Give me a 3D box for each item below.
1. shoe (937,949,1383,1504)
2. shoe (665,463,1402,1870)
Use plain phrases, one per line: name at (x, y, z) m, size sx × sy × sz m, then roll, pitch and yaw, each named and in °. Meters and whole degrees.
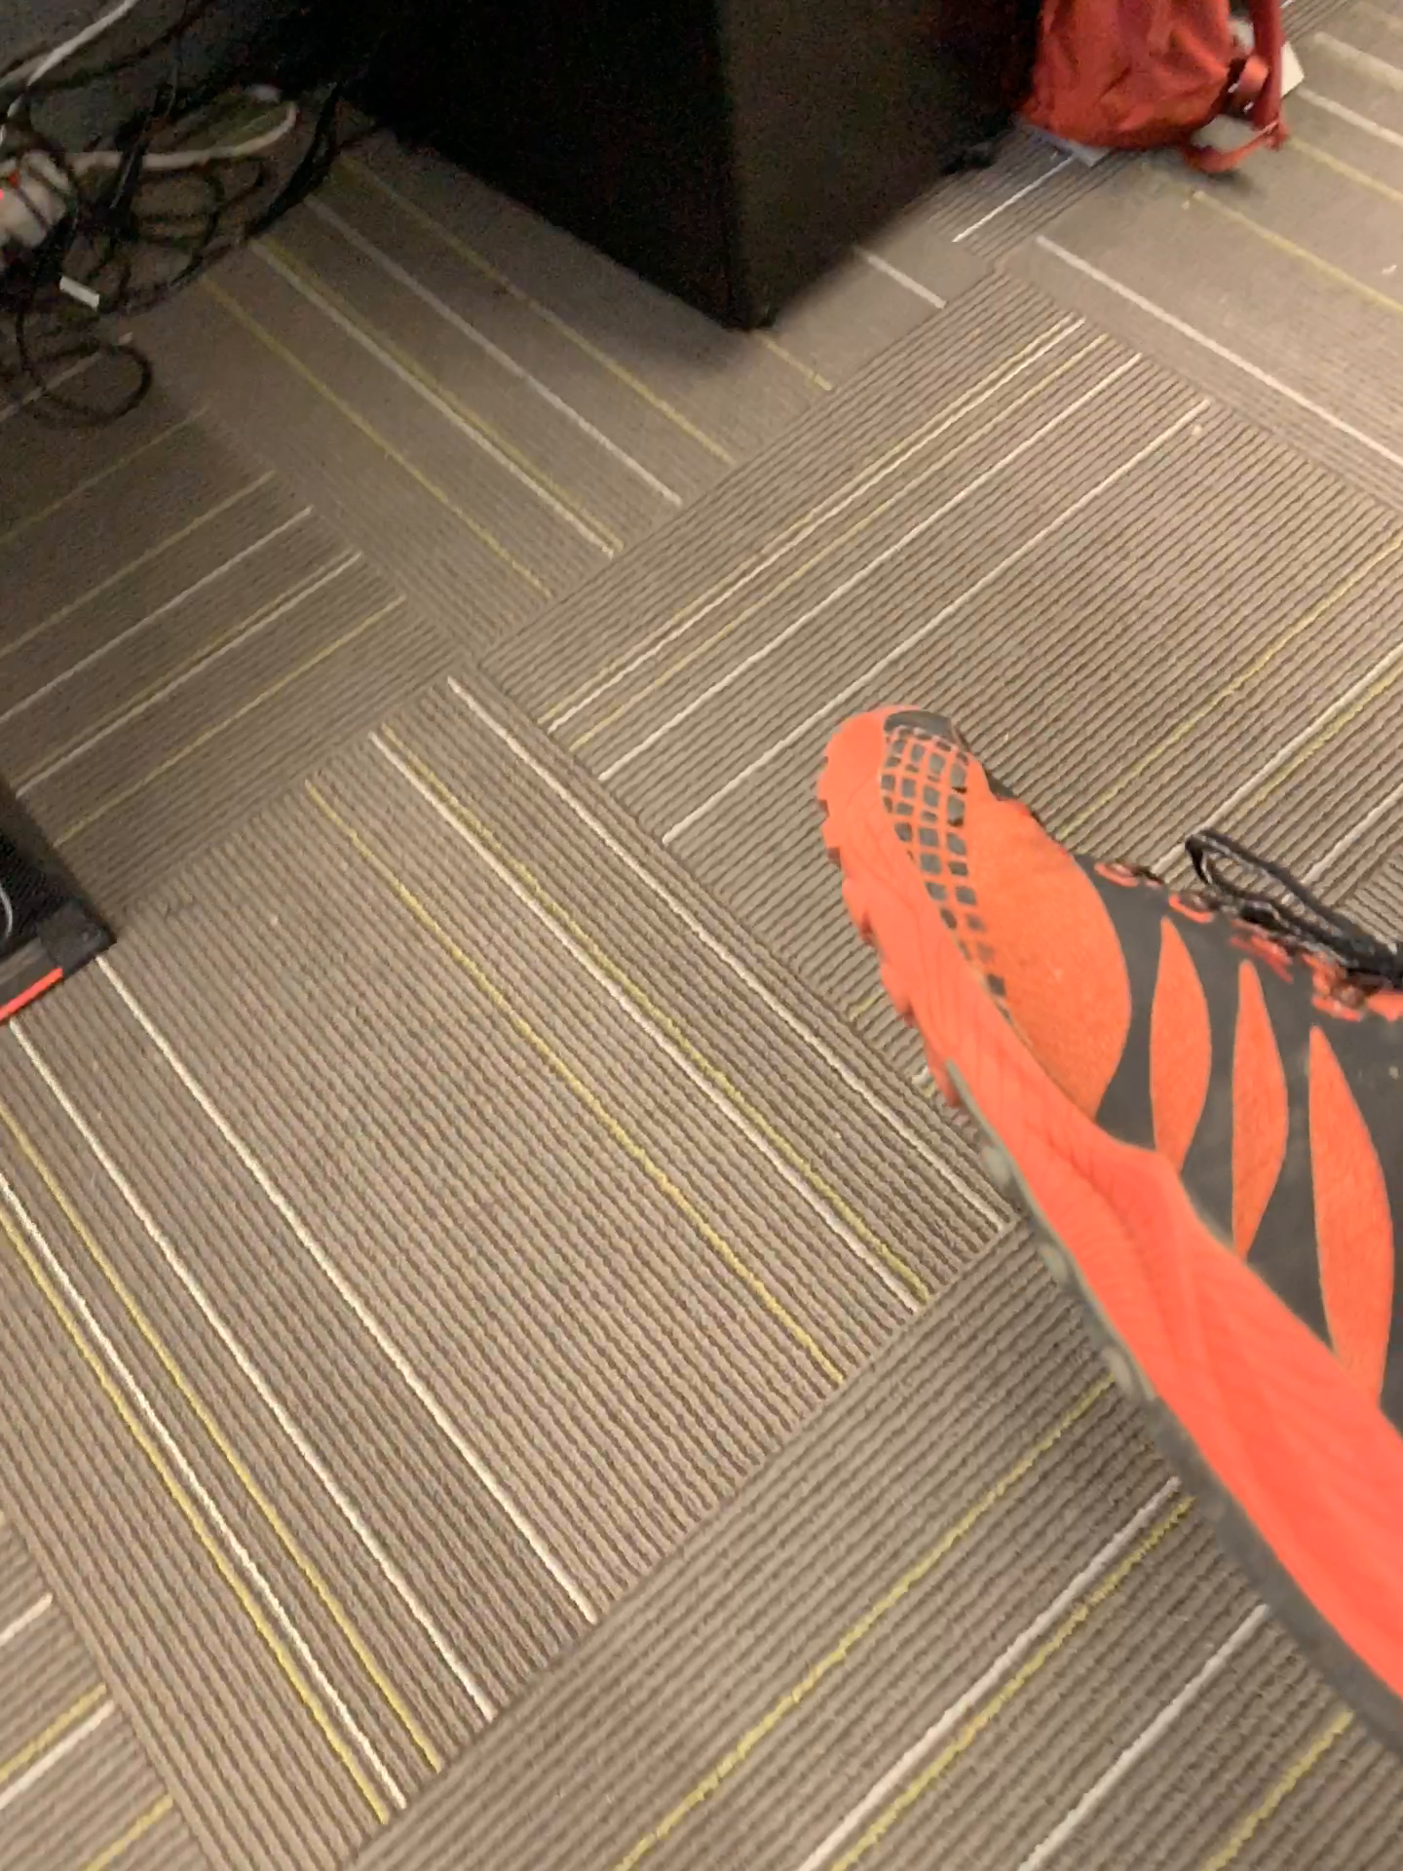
shoe at (0.276, 0.175, 0.908) m, size 0.117 × 0.067 × 0.319 m, roll -20°, pitch 62°, yaw -8°
shoe at (0.138, 0.054, 0.357) m, size 0.145 × 0.110 × 0.322 m, roll -30°, pitch 62°, yaw -1°
